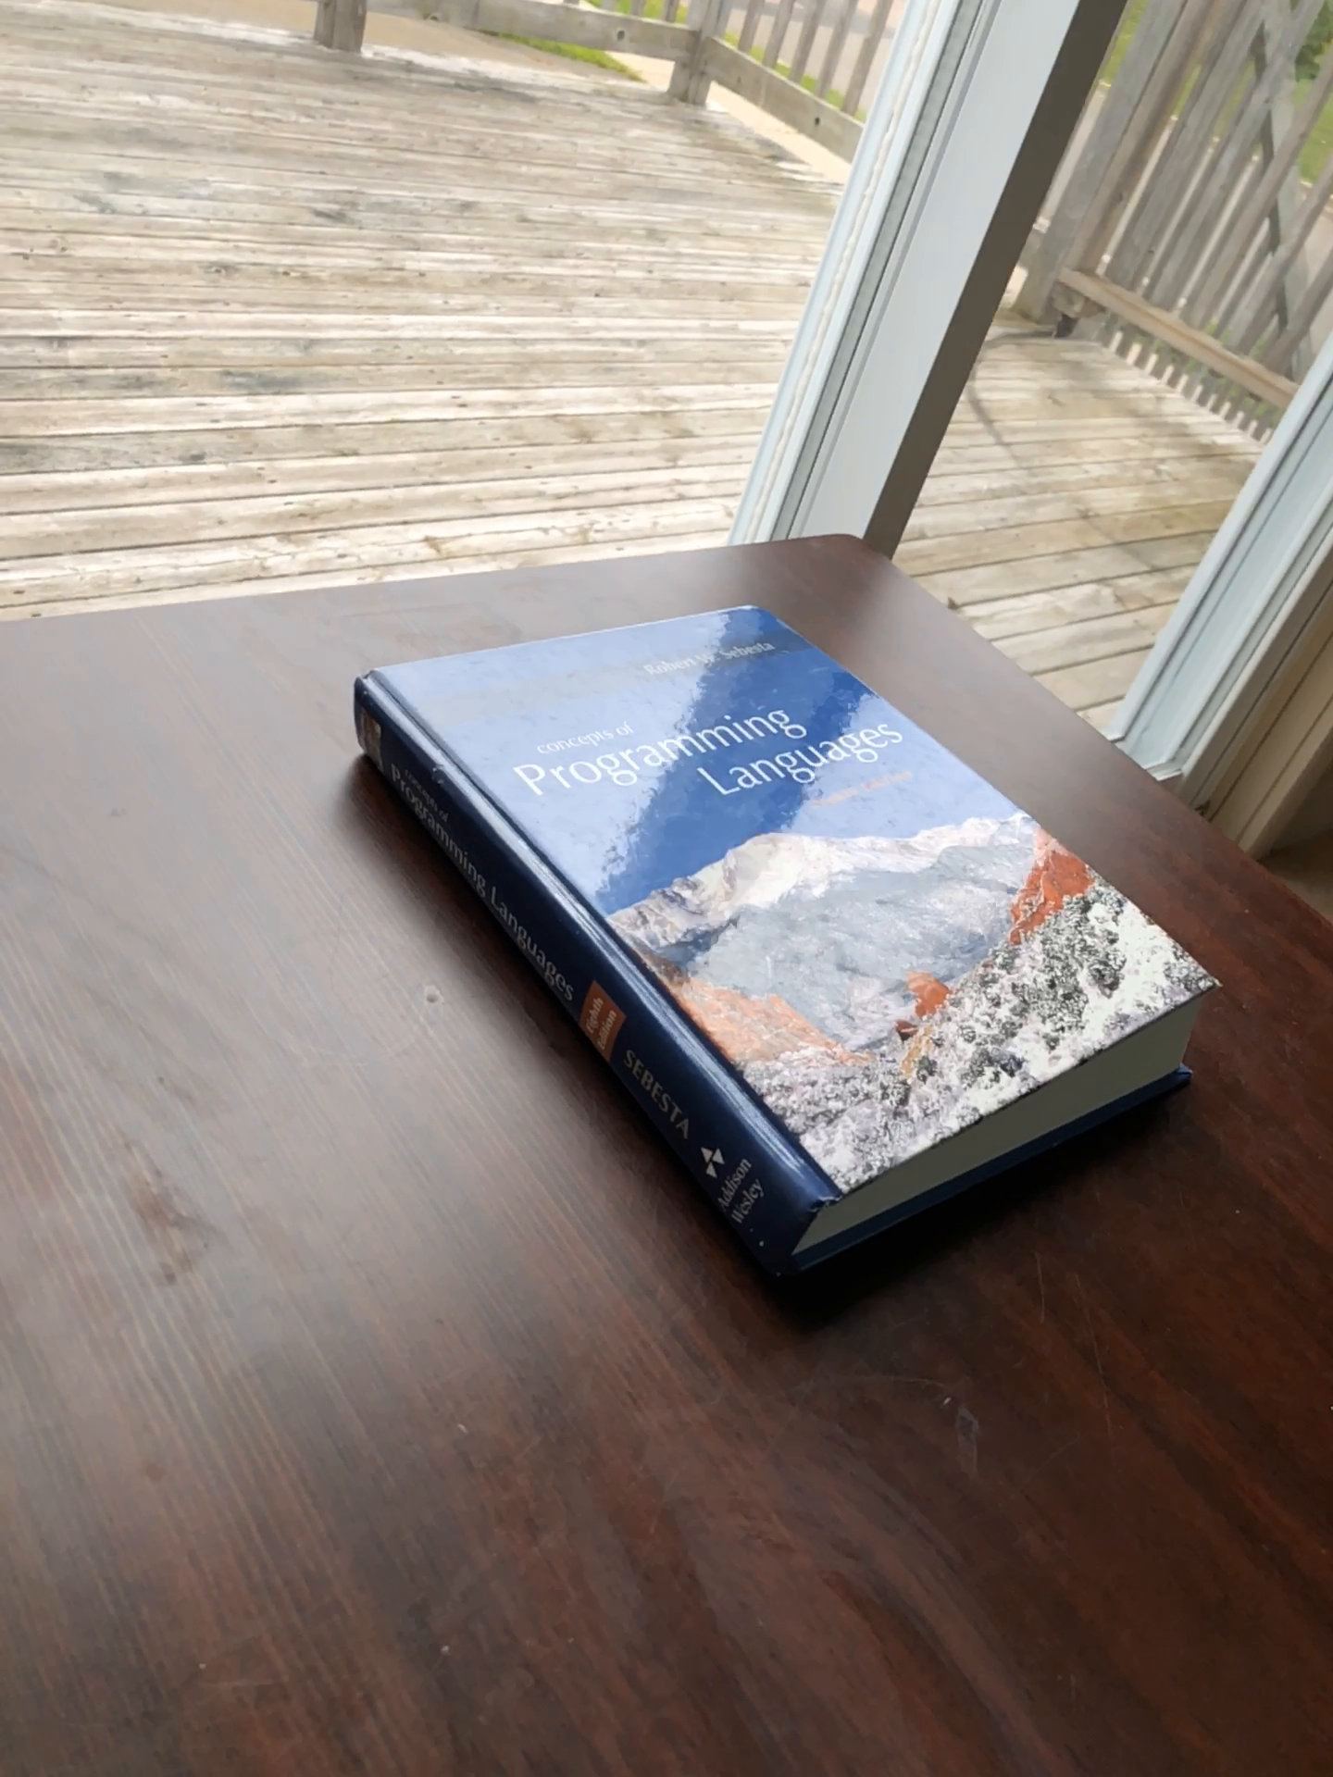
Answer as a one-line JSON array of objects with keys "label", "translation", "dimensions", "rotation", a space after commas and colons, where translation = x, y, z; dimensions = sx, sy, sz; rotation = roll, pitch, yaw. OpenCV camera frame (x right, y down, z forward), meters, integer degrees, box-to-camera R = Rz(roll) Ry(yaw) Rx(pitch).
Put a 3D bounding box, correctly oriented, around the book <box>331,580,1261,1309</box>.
[{"label": "book", "translation": [0.037, -0.008, 0.477], "dimensions": [0.195, 0.048, 0.237], "rotation": [-15, 50, -37]}]
